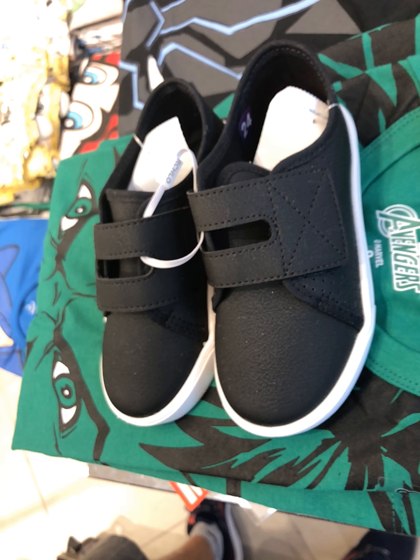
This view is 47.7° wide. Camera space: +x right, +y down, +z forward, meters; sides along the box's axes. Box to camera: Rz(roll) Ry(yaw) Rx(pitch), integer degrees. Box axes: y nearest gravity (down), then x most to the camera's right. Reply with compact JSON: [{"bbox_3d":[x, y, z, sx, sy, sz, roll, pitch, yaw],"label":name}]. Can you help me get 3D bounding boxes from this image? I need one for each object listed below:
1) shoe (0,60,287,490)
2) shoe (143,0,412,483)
[{"bbox_3d":[-0.024,-0.003,0.239,0.080,0.090,0.170,7,81,24],"label":"shoe"},{"bbox_3d":[0.041,-0.015,0.214,0.090,0.090,0.170,0,78,23],"label":"shoe"}]
